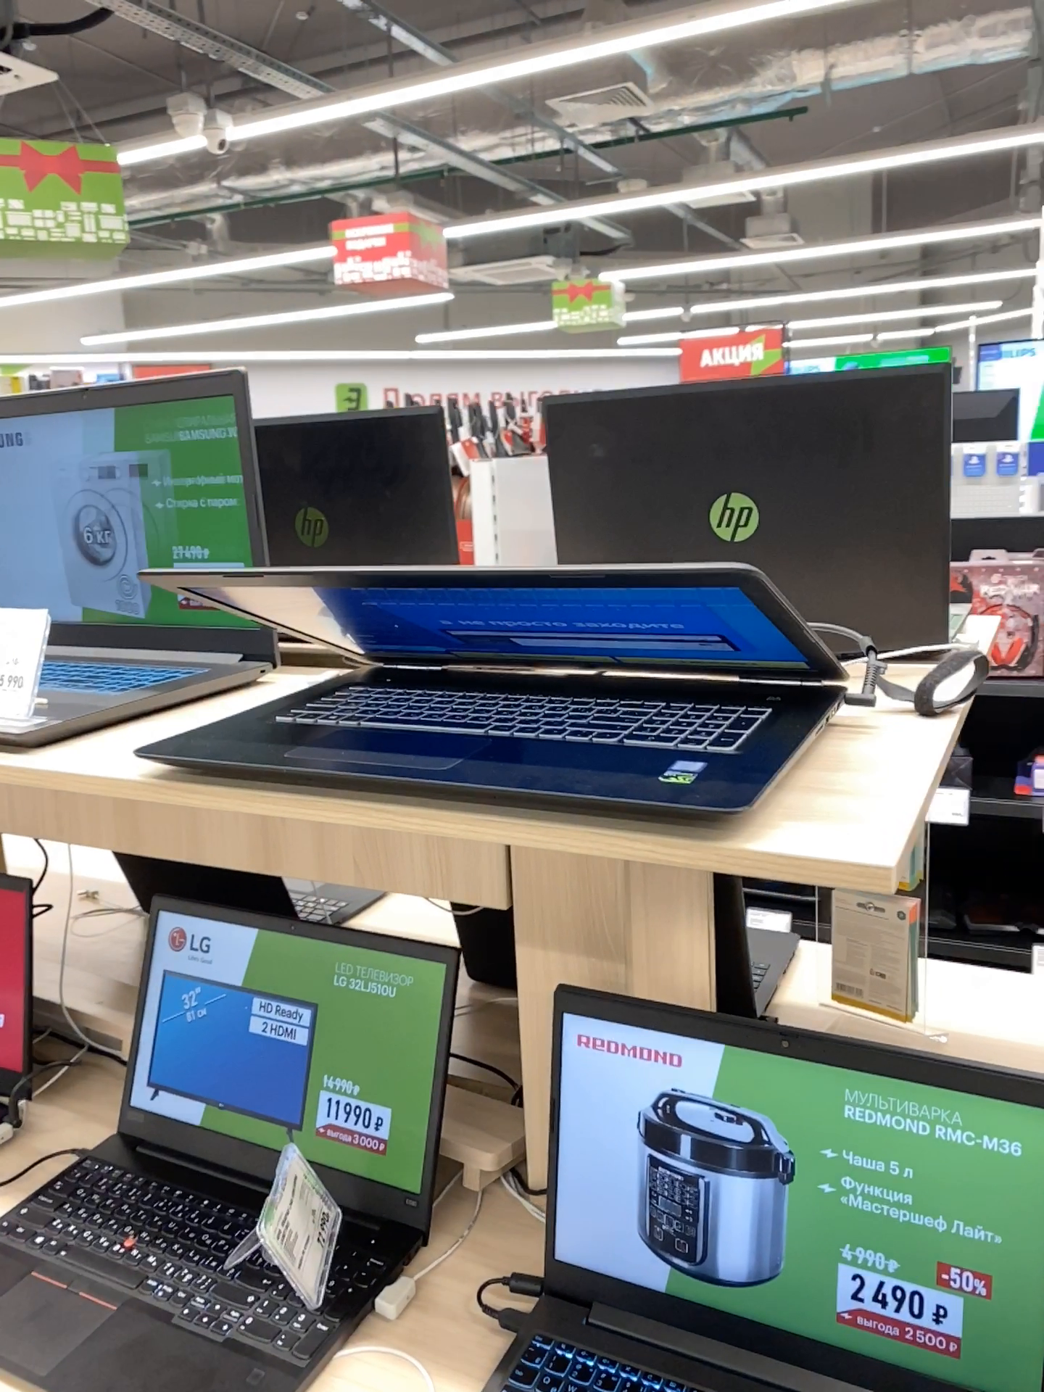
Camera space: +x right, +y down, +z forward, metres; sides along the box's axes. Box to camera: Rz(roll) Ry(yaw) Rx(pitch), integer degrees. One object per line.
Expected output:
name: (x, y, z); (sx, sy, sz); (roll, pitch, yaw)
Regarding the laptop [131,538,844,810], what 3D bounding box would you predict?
laptop: (-0.013, -0.034, 0.706); (0.397, 0.103, 0.263); (2, 14, 27)
